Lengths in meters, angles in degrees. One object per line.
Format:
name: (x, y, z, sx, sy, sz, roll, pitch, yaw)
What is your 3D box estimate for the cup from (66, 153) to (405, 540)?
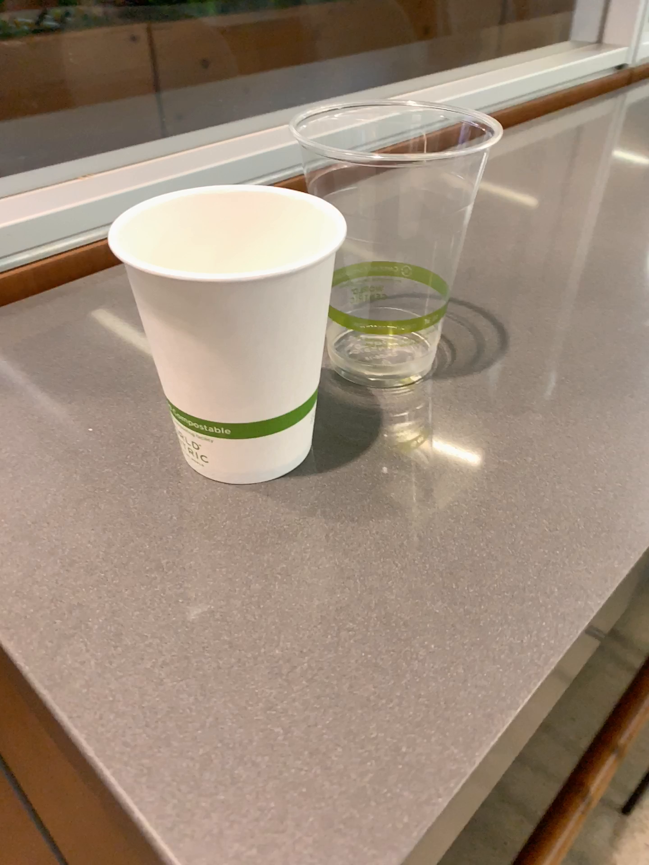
cup: (-0.034, -0.040, 0.276, 0.090, 0.109, 0.090, 0, 38, 0)

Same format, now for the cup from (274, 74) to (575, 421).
cup: (0.039, -0.092, 0.319, 0.080, 0.119, 0.101, -23, 43, -26)
